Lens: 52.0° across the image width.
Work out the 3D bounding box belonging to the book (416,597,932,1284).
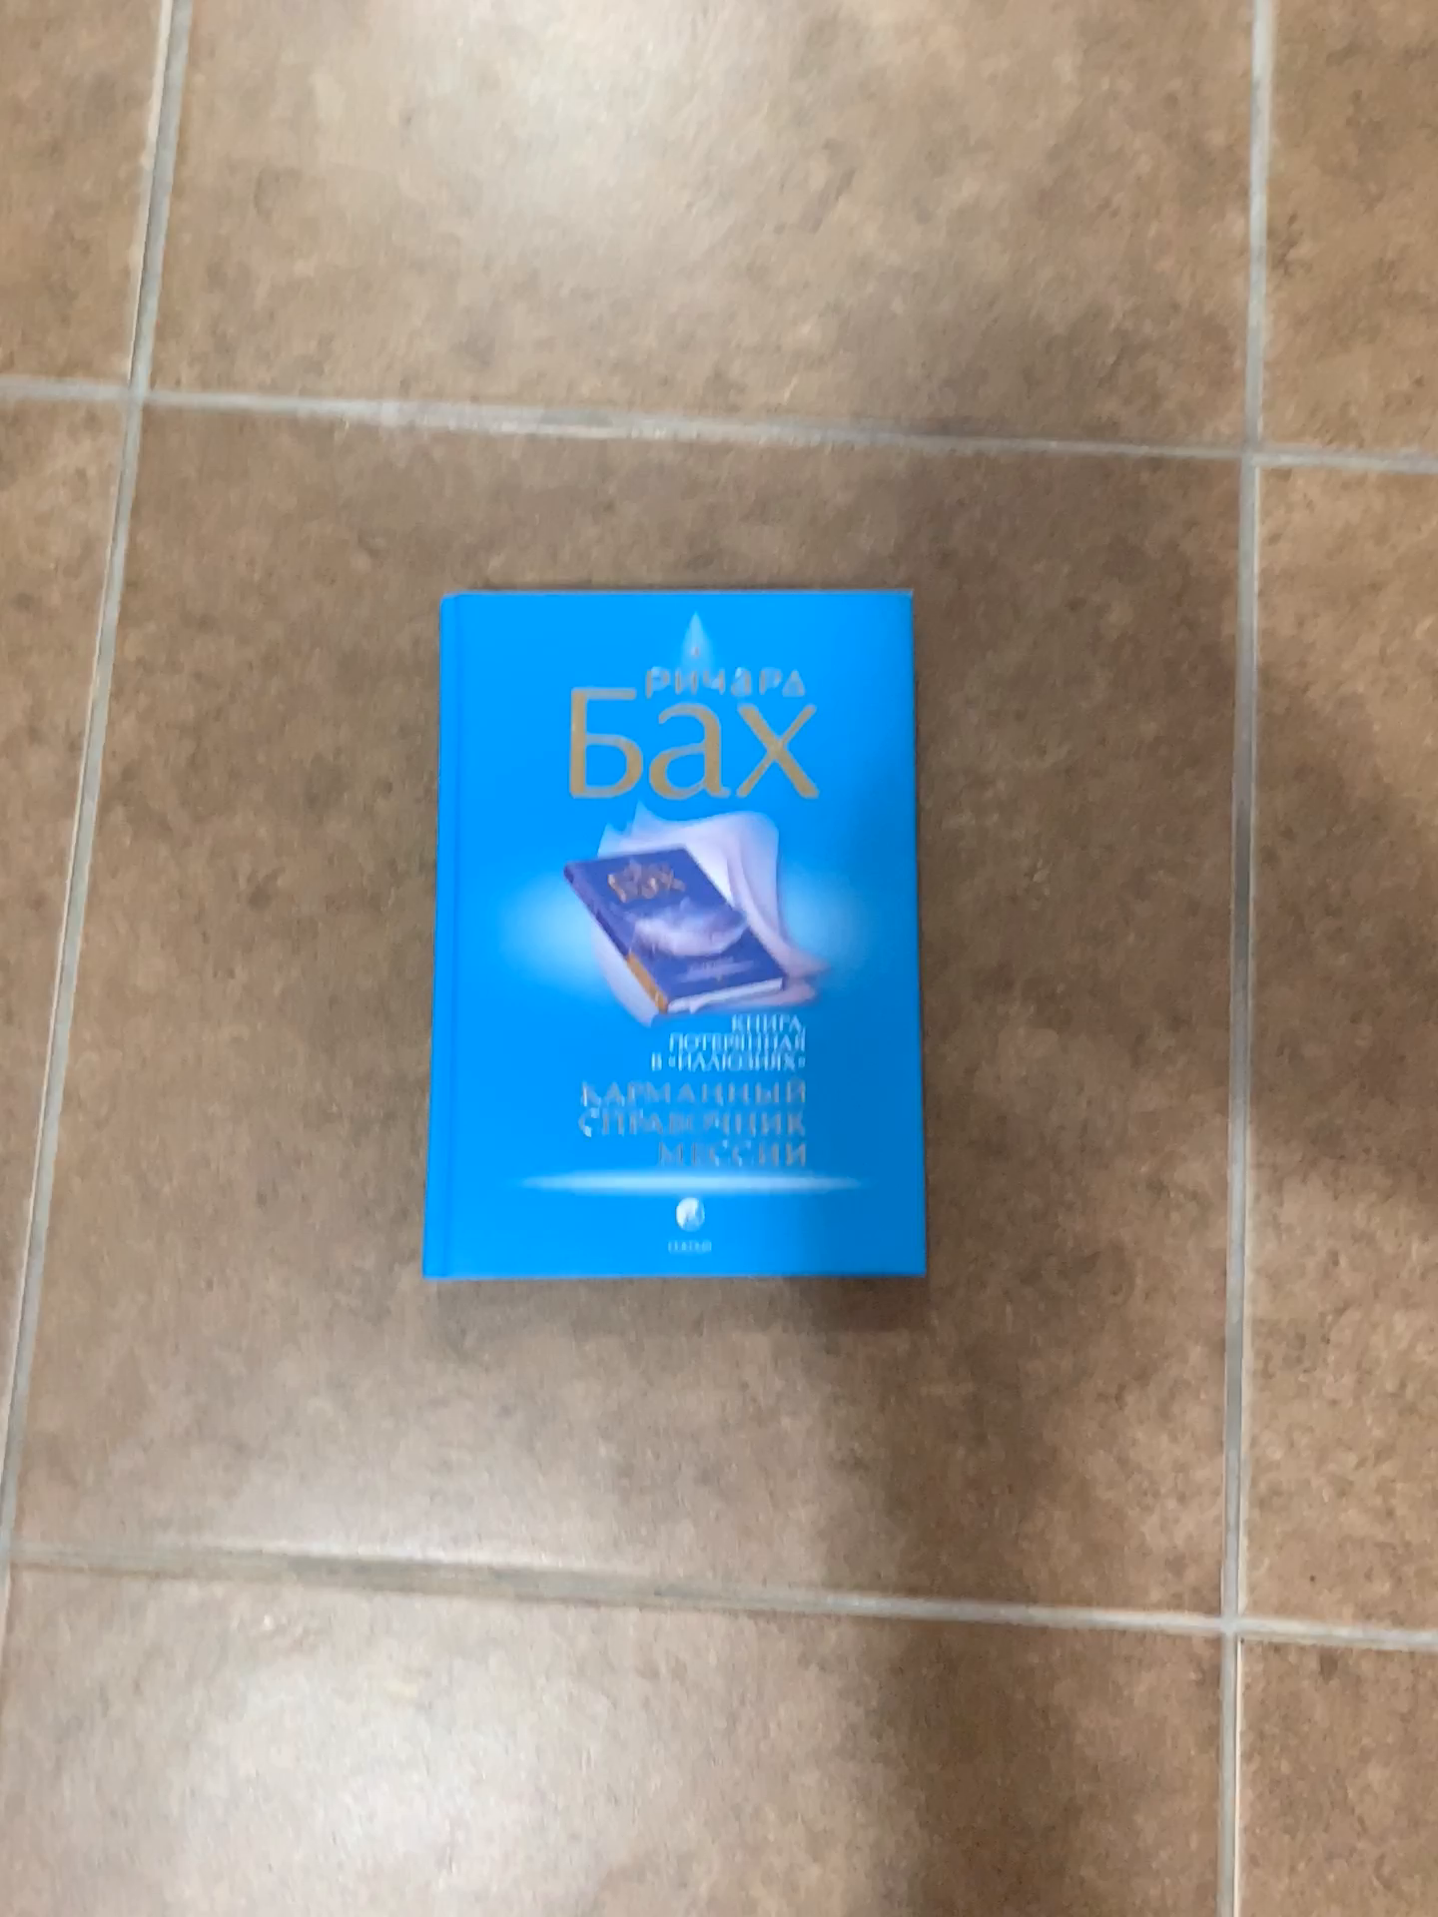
[{"bbox_3d":[-0.010,-0.006,0.367,0.122,0.015,0.169,0,83,1],"label":"book"}]
